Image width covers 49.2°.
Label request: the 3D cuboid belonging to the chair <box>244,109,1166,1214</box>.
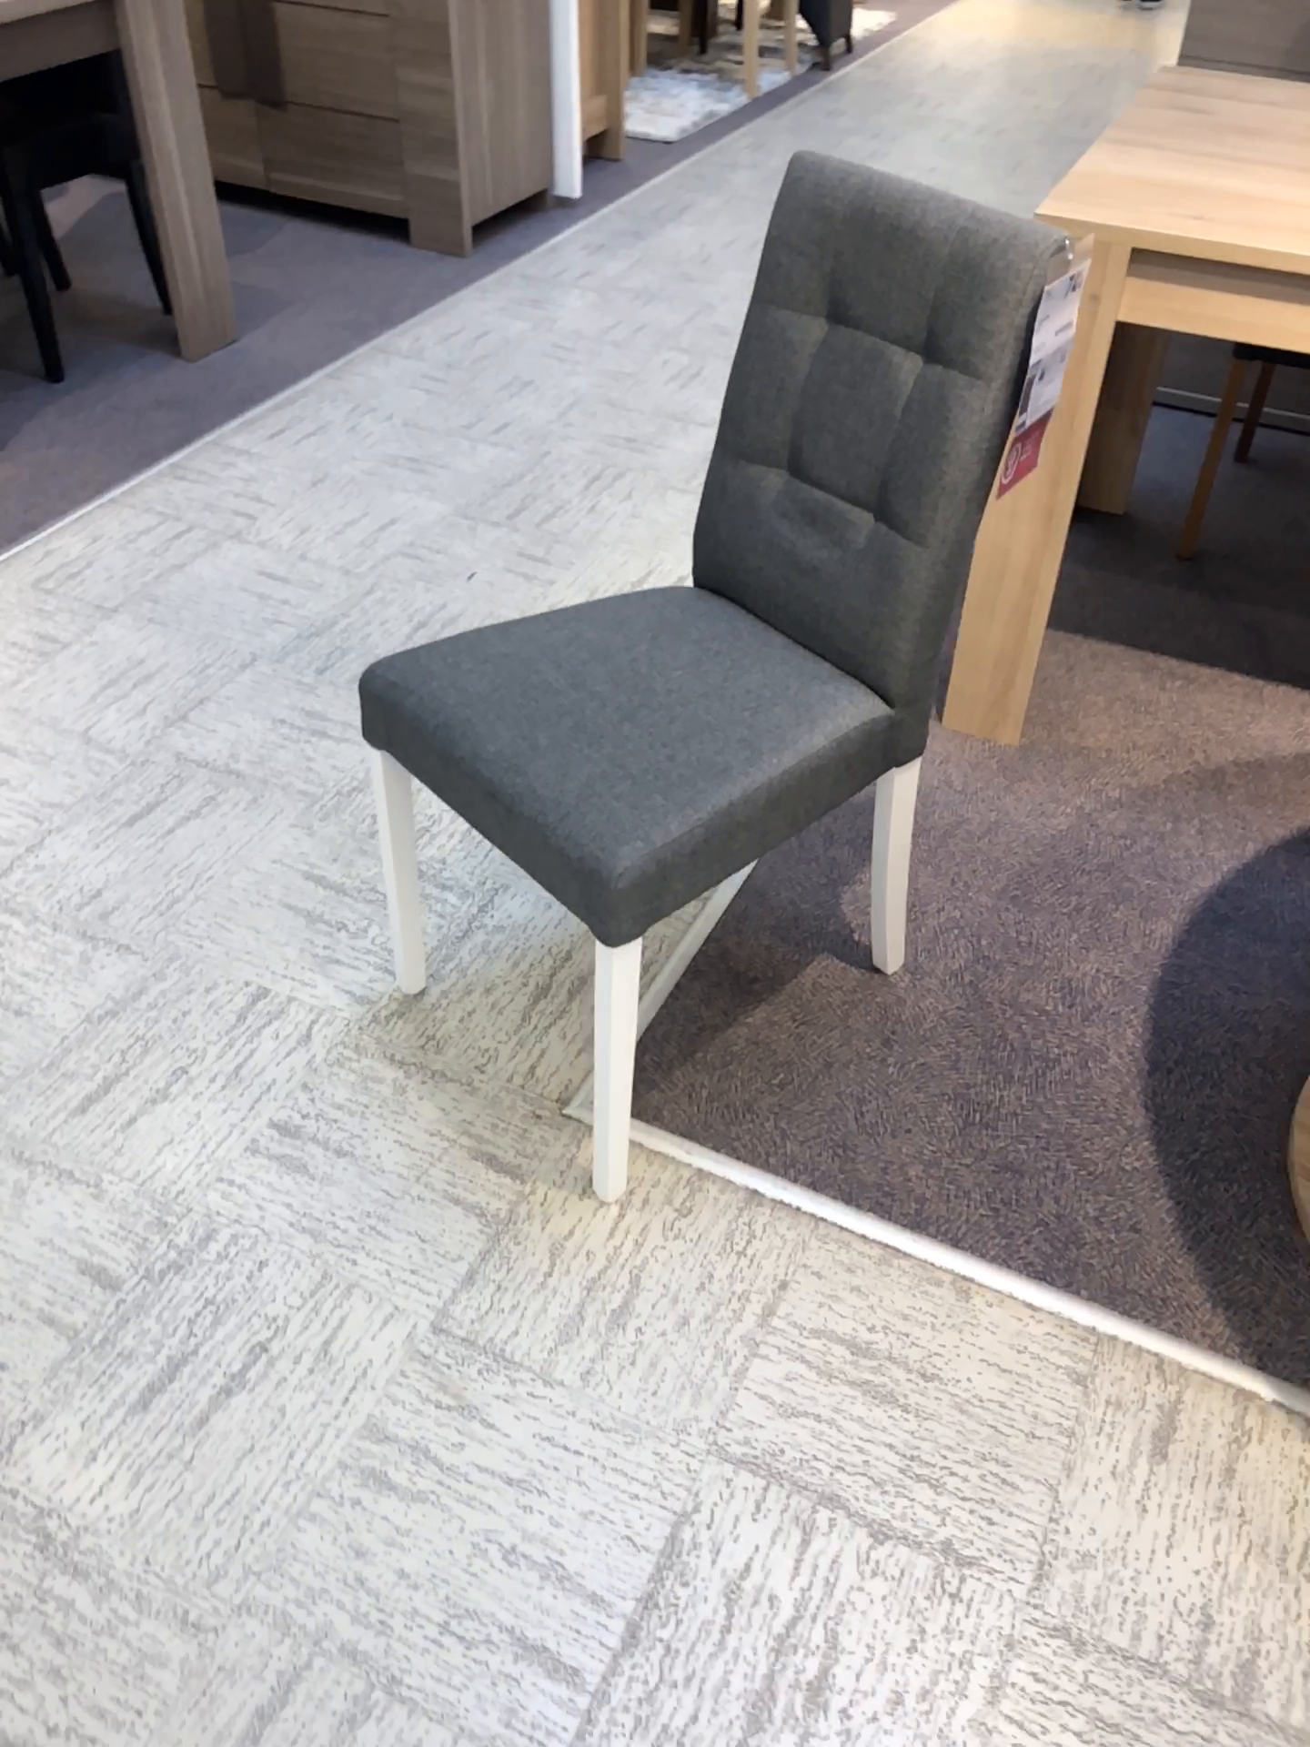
[{"bbox_3d":[0.033,-0.214,1.414,0.583,0.825,0.461,-26,48,-29],"label":"chair"}]
